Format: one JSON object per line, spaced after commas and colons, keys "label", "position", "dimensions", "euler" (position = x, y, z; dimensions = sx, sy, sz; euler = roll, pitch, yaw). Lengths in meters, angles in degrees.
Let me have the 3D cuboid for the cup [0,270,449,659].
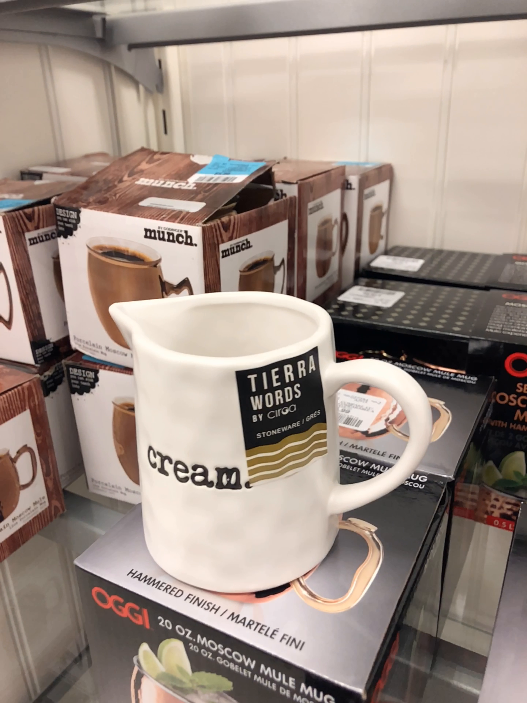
{"label": "cup", "position": [-0.012, 0.026, 0.192], "dimensions": [0.125, 0.080, 0.063], "euler": [8, 25, 21]}
